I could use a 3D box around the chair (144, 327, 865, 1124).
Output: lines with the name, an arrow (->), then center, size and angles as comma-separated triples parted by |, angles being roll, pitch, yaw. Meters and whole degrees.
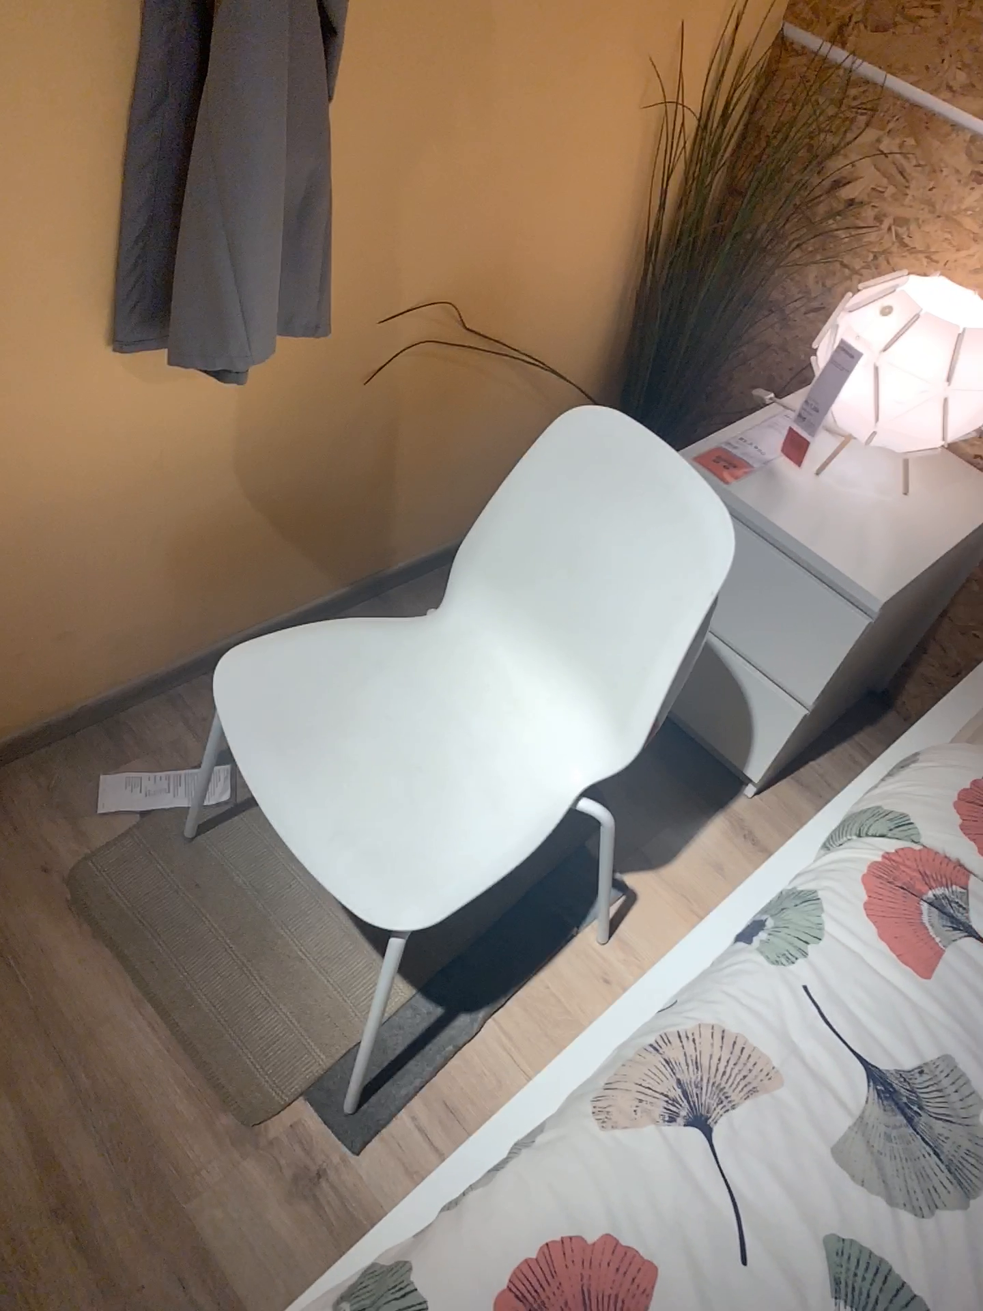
chair -> -0.053, 0.093, 1.317 | 0.561, 0.757, 0.541 | -23, 58, -32
